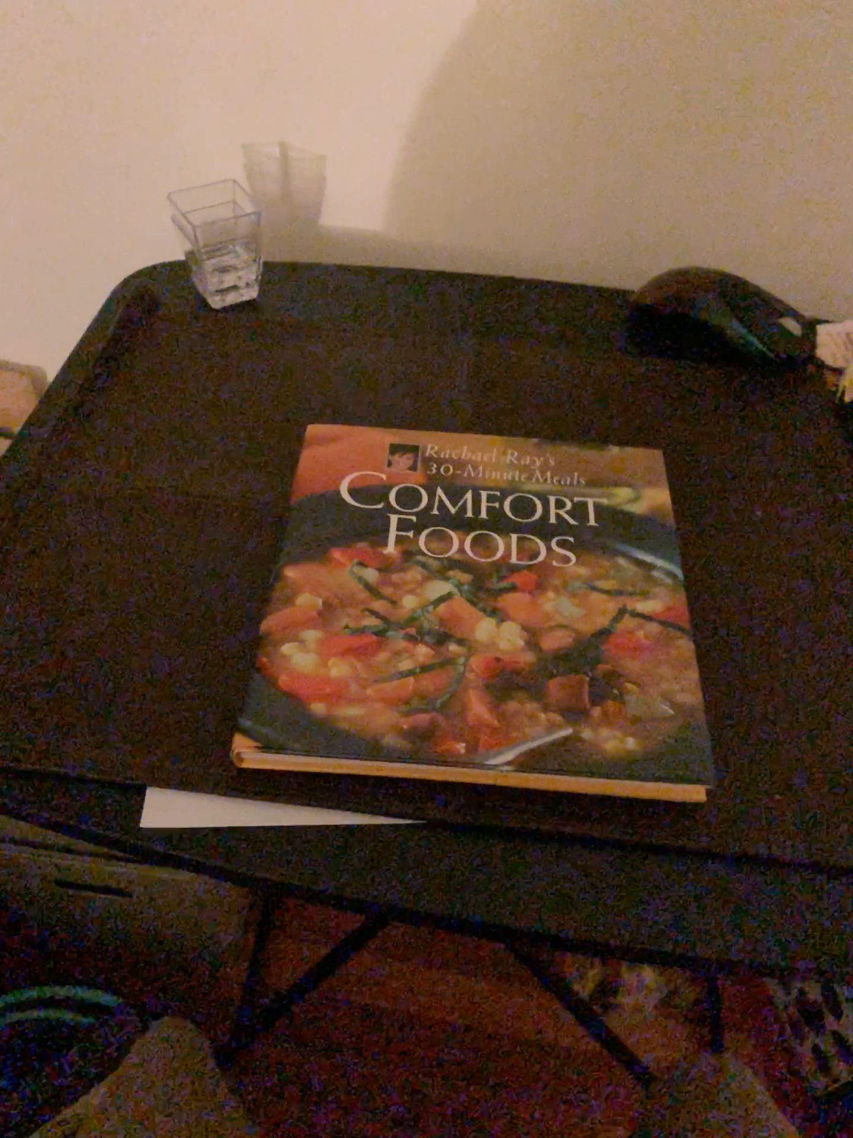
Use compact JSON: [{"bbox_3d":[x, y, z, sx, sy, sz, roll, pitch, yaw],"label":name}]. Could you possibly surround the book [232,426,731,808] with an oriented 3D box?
[{"bbox_3d":[0.027,0.010,0.426,0.200,0.020,0.201,4,49,0],"label":"book"}]
